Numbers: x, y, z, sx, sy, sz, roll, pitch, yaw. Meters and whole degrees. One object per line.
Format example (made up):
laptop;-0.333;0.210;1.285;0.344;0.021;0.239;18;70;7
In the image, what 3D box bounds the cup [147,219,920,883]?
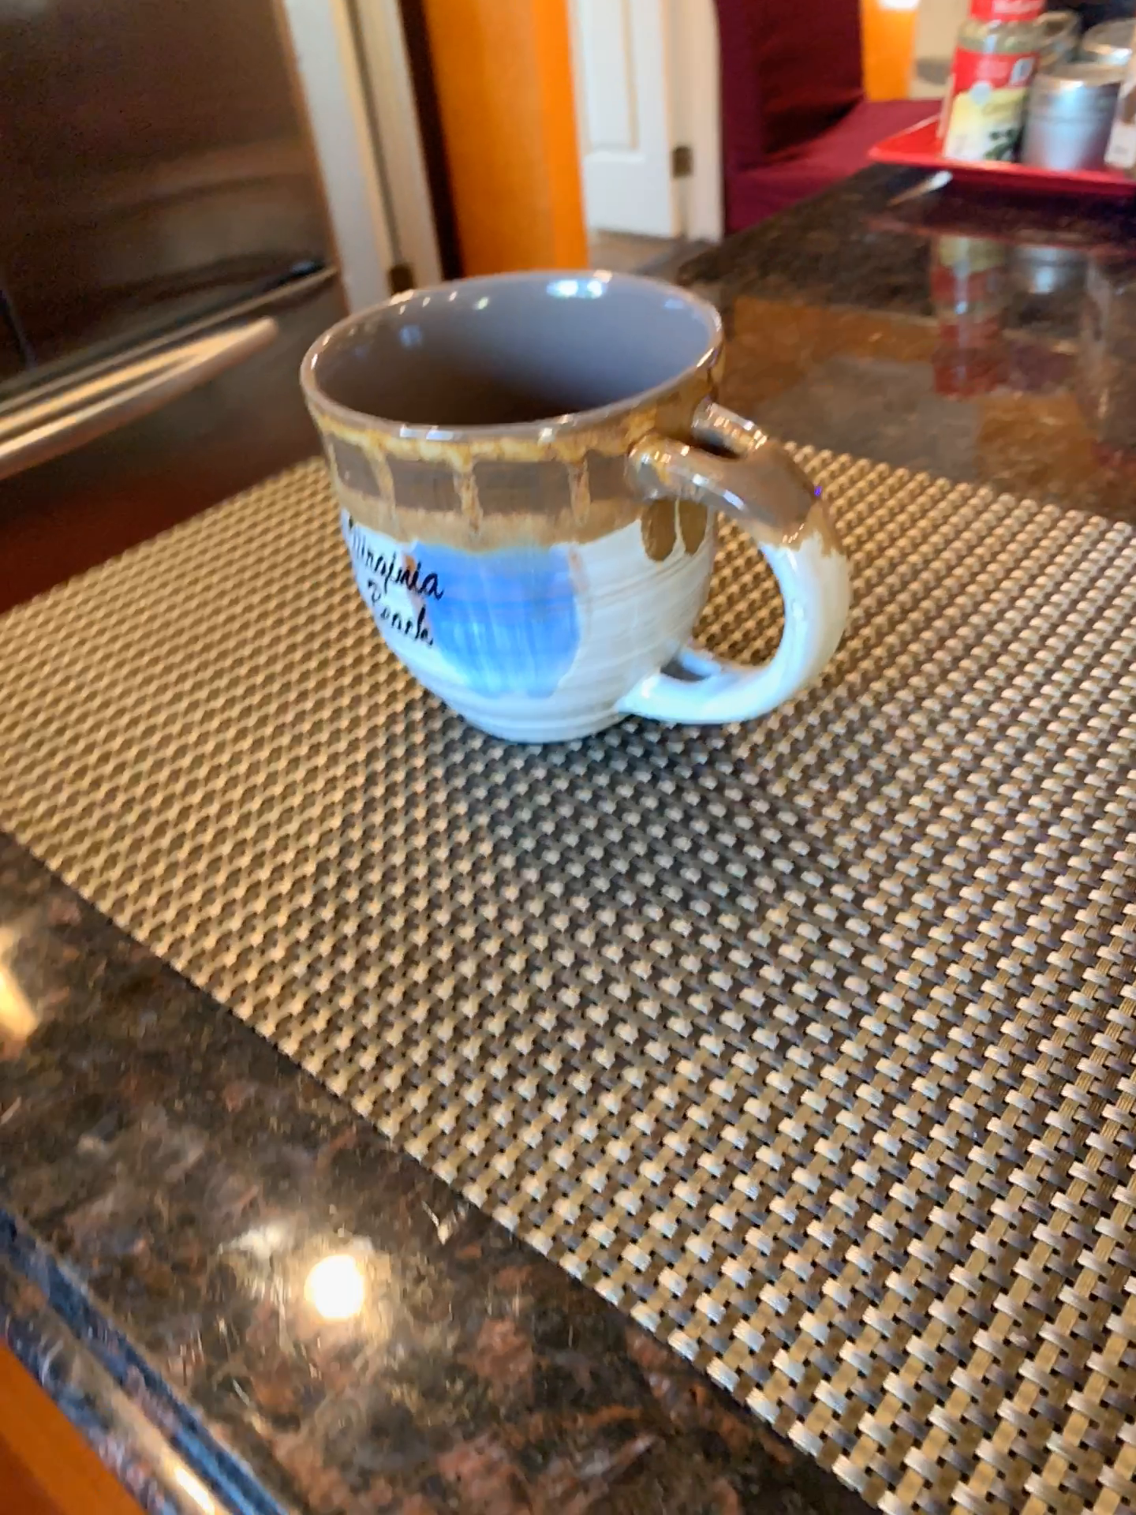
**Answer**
cup;-0.010;-0.063;0.293;0.100;0.089;0.151;-34;46;-29
